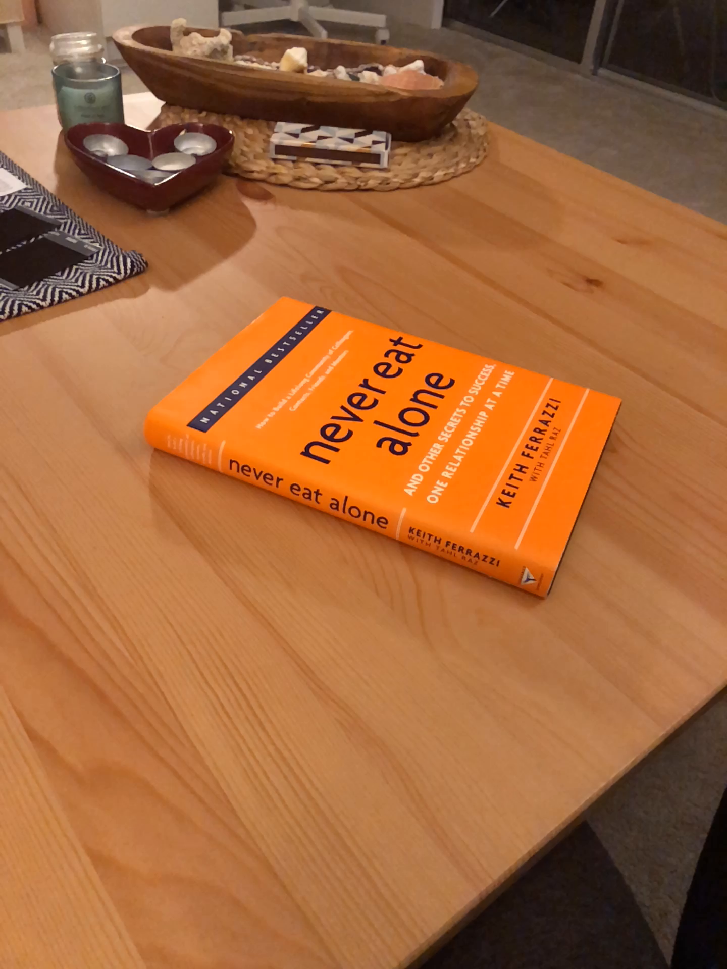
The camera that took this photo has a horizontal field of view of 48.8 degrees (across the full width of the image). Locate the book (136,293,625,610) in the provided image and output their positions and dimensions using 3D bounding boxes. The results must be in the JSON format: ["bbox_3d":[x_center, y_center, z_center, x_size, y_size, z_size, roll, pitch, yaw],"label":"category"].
[{"bbox_3d":[0.017,-0.036,0.476,0.240,0.025,0.167,20,43,15],"label":"book"}]
